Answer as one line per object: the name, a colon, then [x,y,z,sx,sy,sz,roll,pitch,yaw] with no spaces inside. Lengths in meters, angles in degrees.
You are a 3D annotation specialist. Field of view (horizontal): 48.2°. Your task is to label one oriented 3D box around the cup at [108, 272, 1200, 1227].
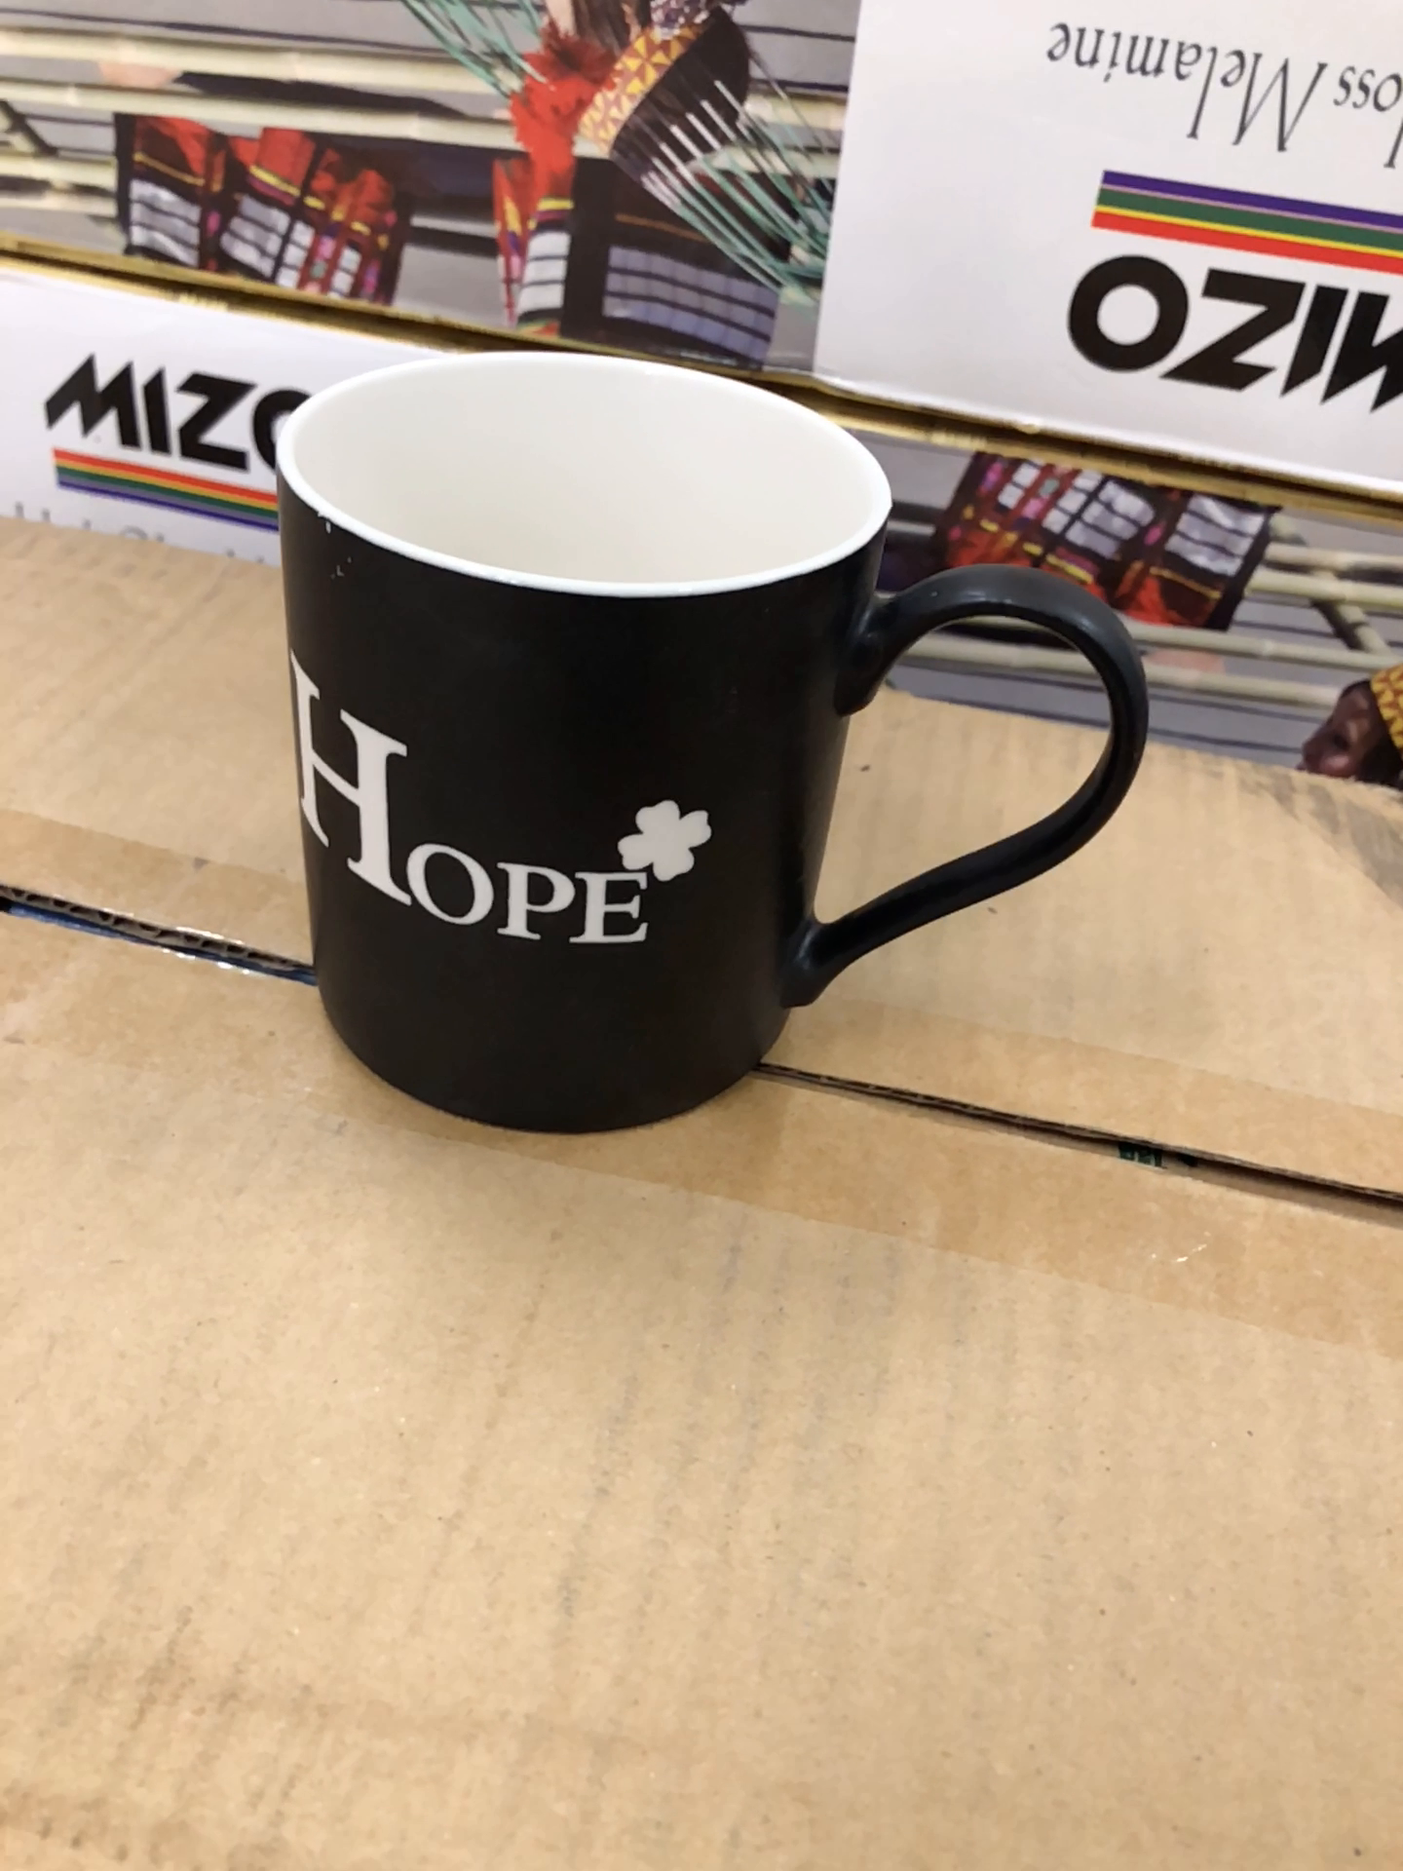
cup: [-0.005,-0.031,0.233,0.120,0.089,0.091,9,37,2]
